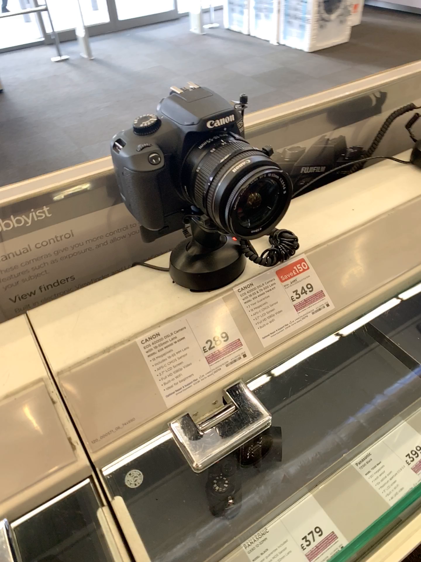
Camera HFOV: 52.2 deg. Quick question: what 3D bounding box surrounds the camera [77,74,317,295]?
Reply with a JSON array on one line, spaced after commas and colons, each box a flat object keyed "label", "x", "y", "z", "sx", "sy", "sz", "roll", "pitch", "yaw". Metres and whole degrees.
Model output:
[{"label": "camera", "x": -0.014, "y": -0.091, "z": 0.367, "sx": 0.140, "sy": 0.101, "sz": 0.137, "roll": -22, "pitch": 45, "yaw": -19}]
